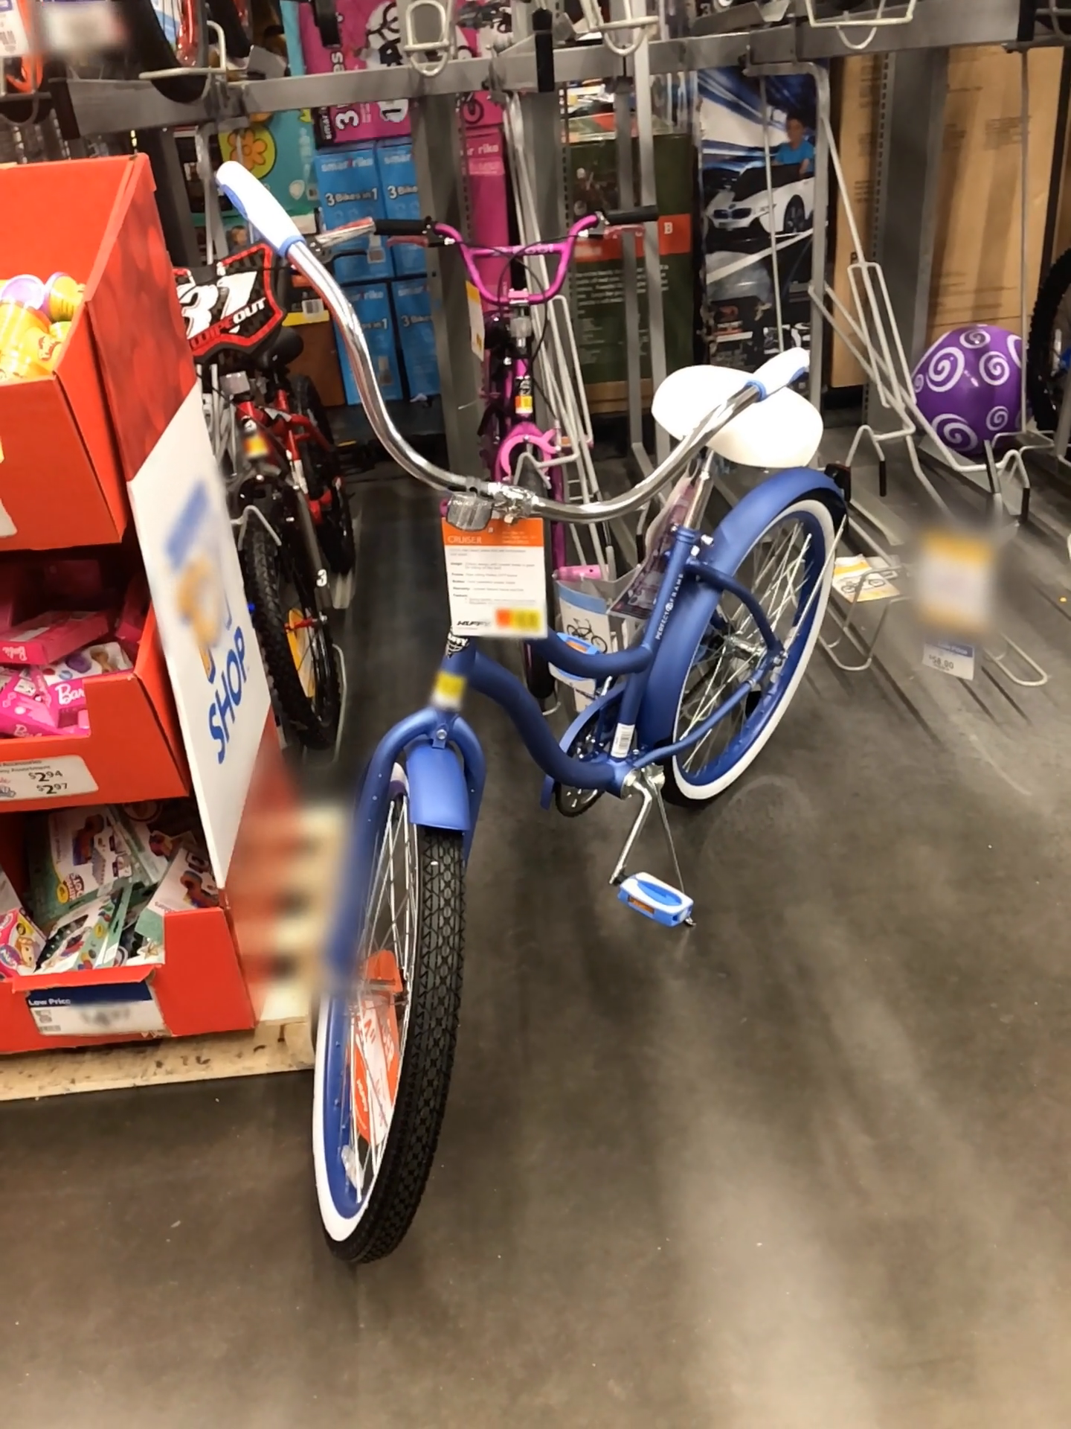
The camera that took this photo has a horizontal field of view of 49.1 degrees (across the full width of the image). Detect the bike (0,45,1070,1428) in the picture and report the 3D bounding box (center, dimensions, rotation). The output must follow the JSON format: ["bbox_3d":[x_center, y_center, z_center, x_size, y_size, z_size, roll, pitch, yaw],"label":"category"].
[{"bbox_3d":[0.174,-0.109,1.507,0.857,1.113,1.360,12,37,28],"label":"bike"}]
